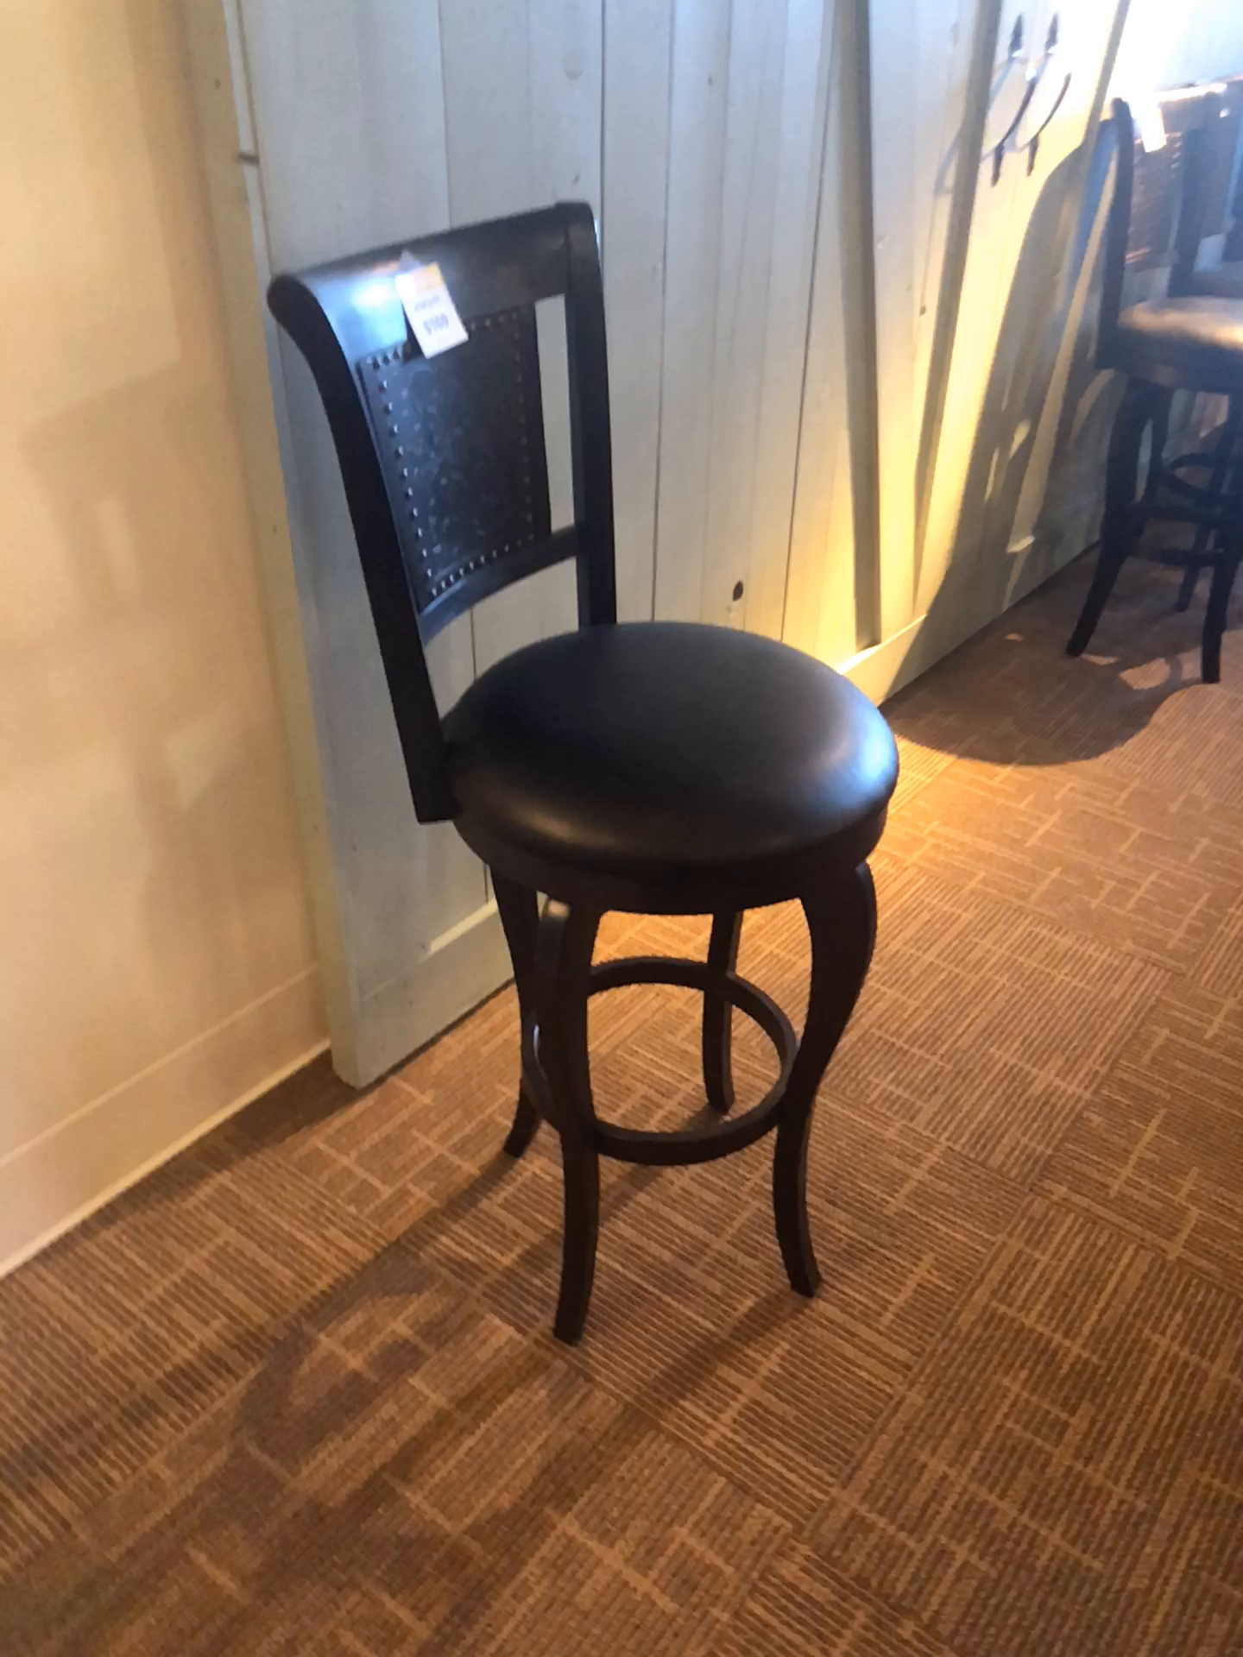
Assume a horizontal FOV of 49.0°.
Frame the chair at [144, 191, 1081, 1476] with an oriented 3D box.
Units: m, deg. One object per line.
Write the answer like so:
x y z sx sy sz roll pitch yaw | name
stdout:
0.005 -0.007 1.494 0.610 1.150 0.563 20 37 26 | chair
